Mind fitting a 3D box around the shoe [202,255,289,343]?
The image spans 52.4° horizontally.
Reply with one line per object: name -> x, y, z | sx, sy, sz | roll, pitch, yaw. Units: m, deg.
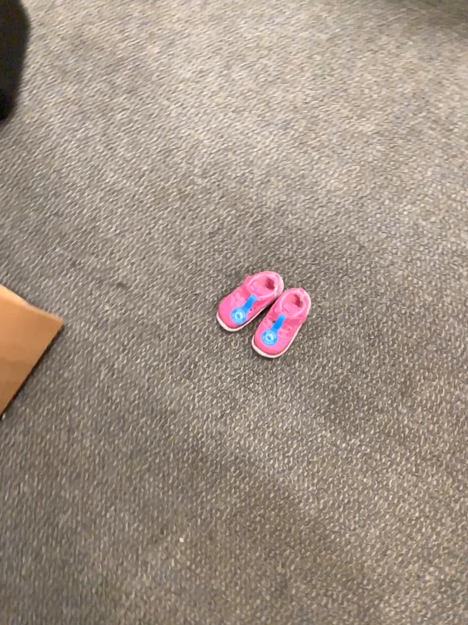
shoe -> 0.021, -0.023, 0.832 | 0.140, 0.040, 0.070 | -43, 80, -5

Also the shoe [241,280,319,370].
shoe -> 0.081, 0.022, 0.841 | 0.070, 0.040, 0.140 | 34, 83, 9
